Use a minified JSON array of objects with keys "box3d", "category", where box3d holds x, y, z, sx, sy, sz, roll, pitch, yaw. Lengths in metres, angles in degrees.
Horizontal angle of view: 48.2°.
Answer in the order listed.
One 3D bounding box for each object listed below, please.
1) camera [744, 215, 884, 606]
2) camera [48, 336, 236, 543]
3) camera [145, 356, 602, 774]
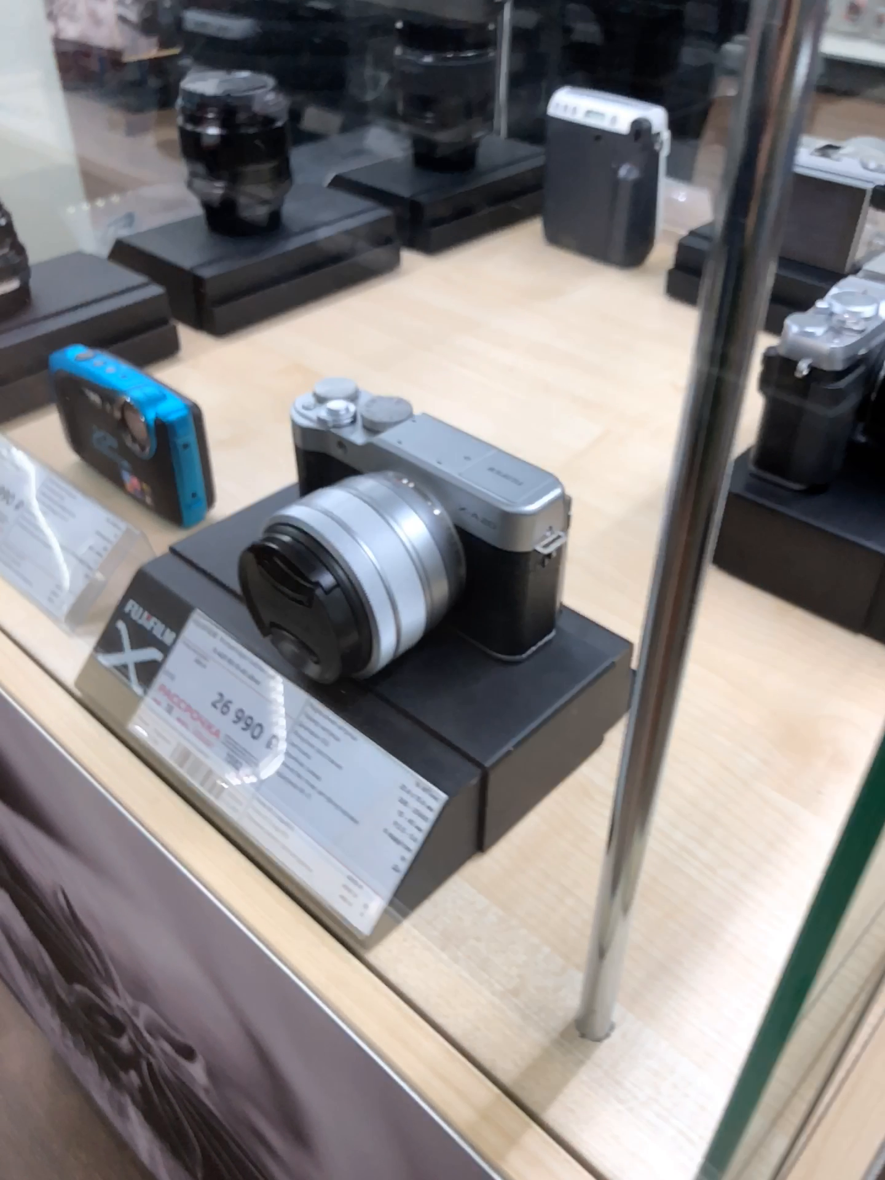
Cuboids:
[{"box3d":[0.247,-0.094,0.444,0.130,0.074,0.188,29,46,31],"category":"camera"},{"box3d":[-0.148,-0.076,0.487,0.106,0.064,0.025,31,47,32],"category":"camera"},{"box3d":[-0.024,-0.017,0.346,0.120,0.070,0.093,30,47,32],"category":"camera"}]
